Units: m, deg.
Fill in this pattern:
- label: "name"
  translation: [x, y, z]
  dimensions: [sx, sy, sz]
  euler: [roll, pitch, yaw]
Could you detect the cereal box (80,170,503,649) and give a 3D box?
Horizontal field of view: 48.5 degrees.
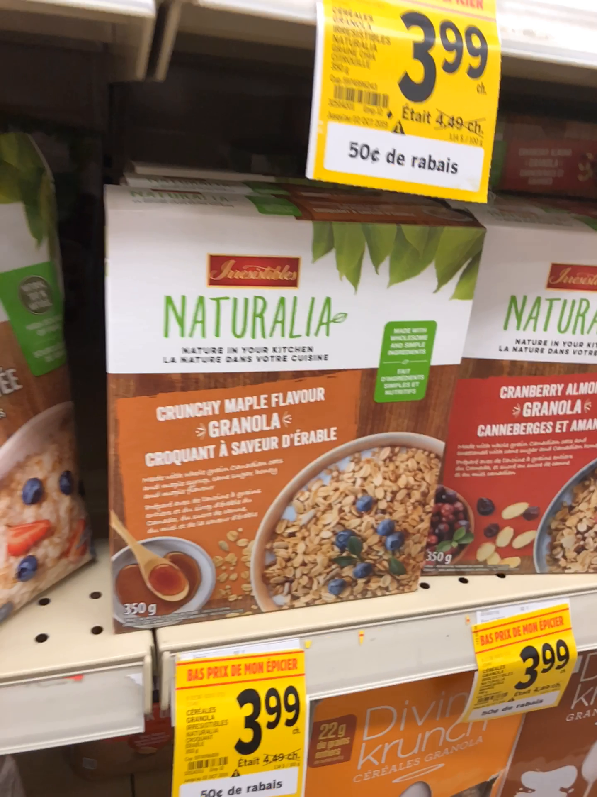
- label: "cereal box"
  translation: [-0.012, 0.009, 0.318]
  dimensions: [0.170, 0.209, 0.050]
  euler: [-2, 25, -18]
